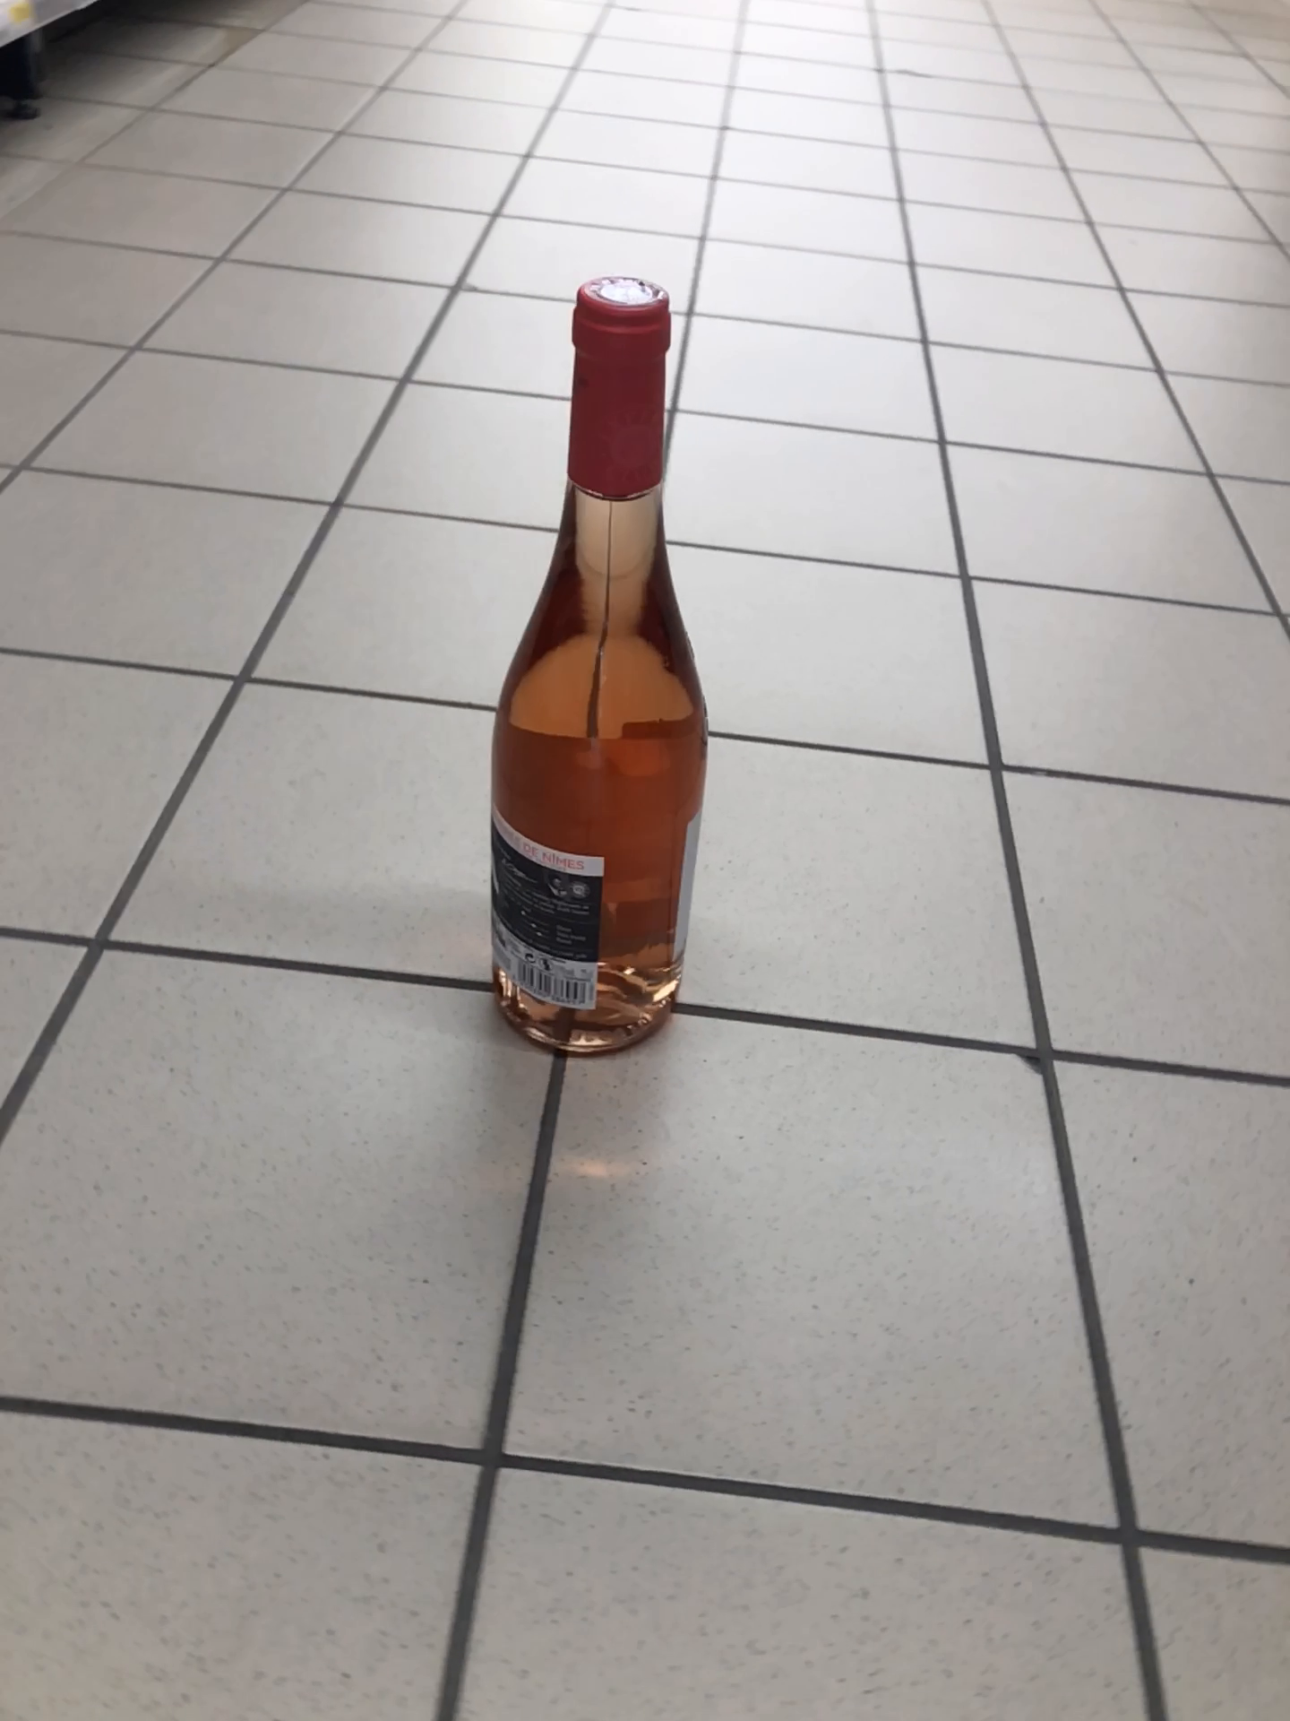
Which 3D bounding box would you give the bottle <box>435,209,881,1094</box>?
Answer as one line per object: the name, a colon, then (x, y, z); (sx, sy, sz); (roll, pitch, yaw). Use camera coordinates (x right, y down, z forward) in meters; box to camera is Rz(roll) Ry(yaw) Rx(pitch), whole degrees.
bottle: (-0.008, -0.060, 0.493); (0.090, 0.278, 0.090); (4, 40, -3)
